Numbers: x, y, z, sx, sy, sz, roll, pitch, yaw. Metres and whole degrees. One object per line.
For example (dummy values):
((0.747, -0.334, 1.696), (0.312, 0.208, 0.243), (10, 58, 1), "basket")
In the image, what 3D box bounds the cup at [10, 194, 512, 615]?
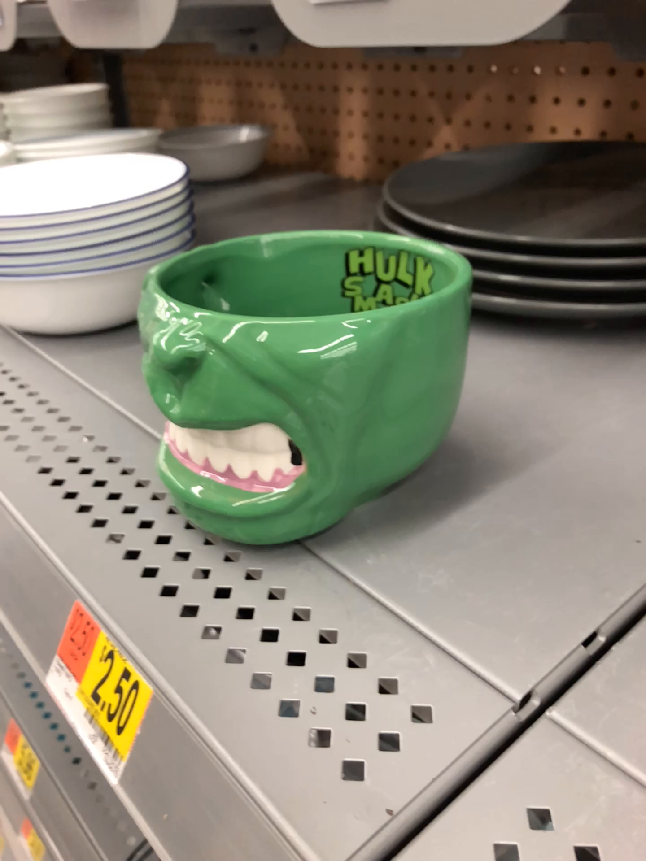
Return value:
((-0.026, -0.027, 0.287), (0.115, 0.089, 0.148), (-27, 38, -35), "cup")
